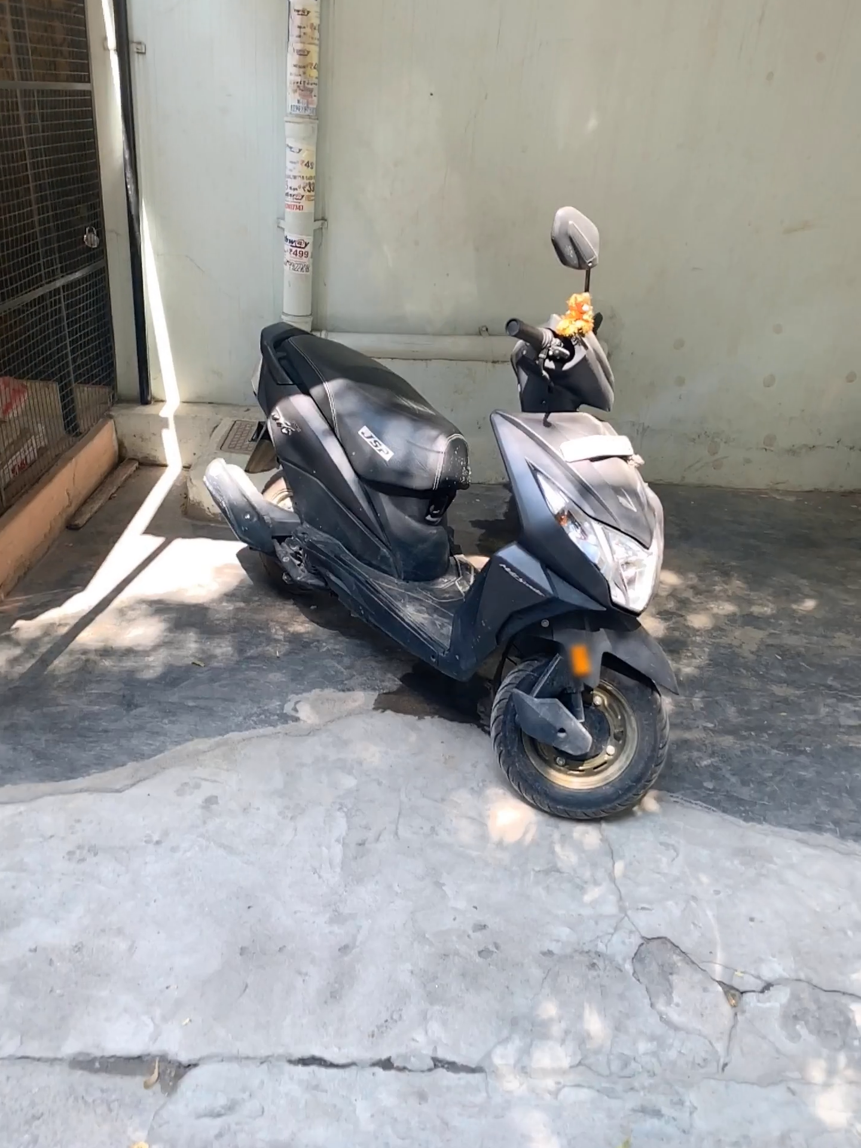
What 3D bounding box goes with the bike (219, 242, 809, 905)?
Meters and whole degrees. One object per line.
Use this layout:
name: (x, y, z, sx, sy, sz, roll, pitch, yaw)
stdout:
bike: (0.069, -0.113, 2.511, 1.512, 1.278, 0.503, 30, 36, 35)
